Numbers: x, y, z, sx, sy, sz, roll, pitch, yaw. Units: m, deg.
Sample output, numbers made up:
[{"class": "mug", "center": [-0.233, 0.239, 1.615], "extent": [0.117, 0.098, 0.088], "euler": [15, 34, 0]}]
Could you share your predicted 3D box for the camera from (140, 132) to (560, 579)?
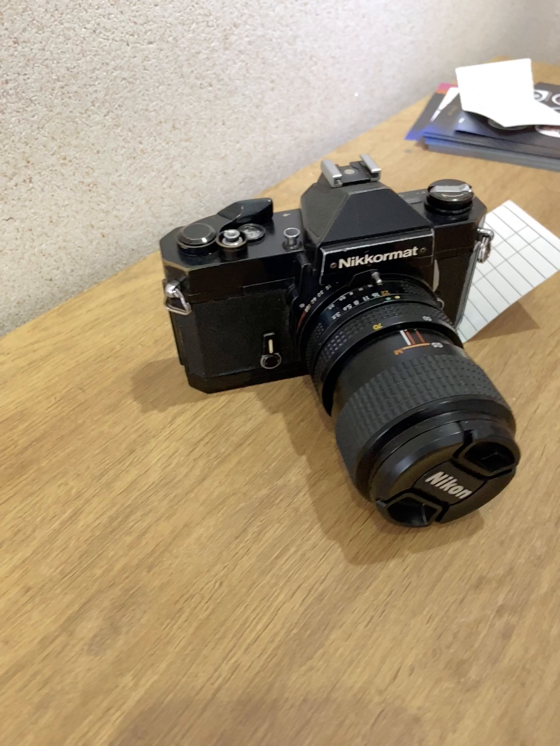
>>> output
[{"class": "camera", "center": [0.033, -0.018, 0.239], "extent": [0.160, 0.089, 0.141], "euler": [-9, 43, -6]}]
